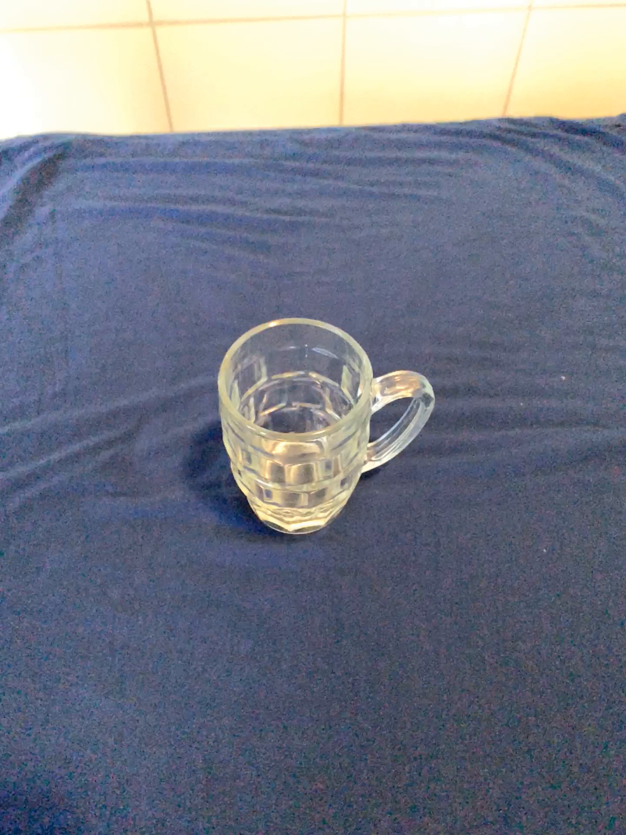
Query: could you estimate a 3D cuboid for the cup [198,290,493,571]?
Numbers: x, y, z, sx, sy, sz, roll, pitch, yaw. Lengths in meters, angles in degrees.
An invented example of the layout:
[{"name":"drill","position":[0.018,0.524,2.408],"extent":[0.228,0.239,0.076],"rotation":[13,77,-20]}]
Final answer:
[{"name":"cup","position":[0.011,0.009,0.342],"extent":[0.120,0.110,0.080],"rotation":[-10,54,-8]}]
